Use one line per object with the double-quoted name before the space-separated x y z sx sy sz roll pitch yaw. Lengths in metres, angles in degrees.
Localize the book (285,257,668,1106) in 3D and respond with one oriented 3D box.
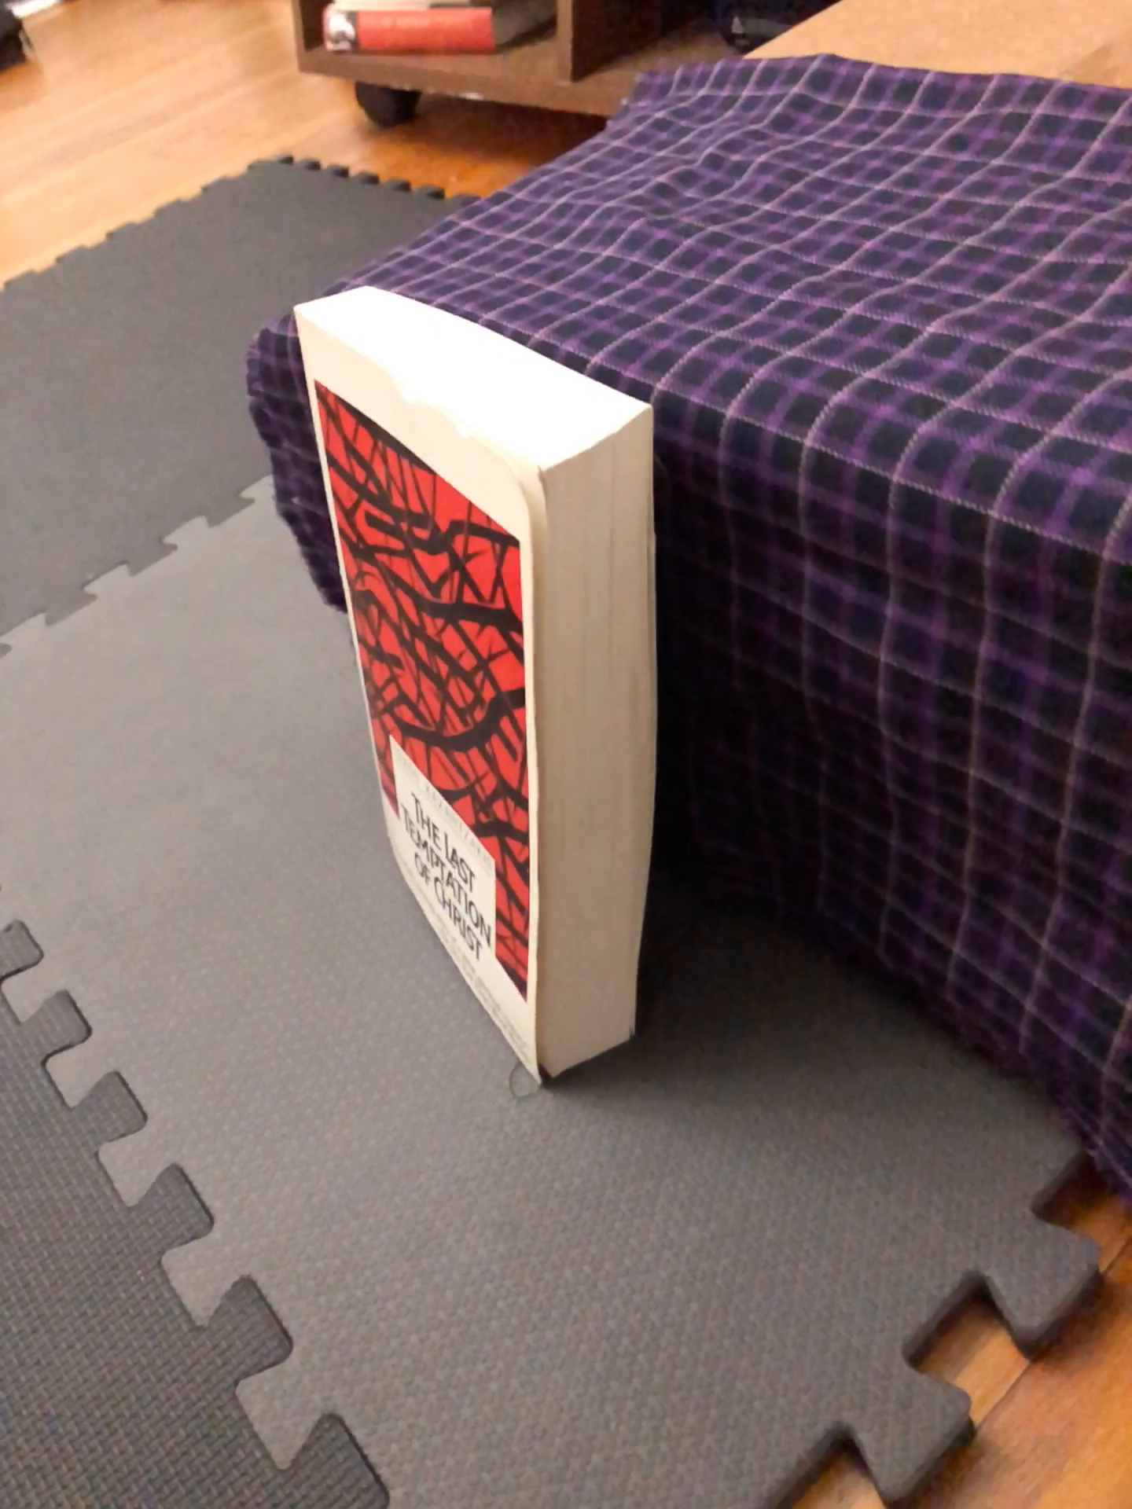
"book" -0.026 -0.024 0.385 0.050 0.209 0.151 -16 36 -15
